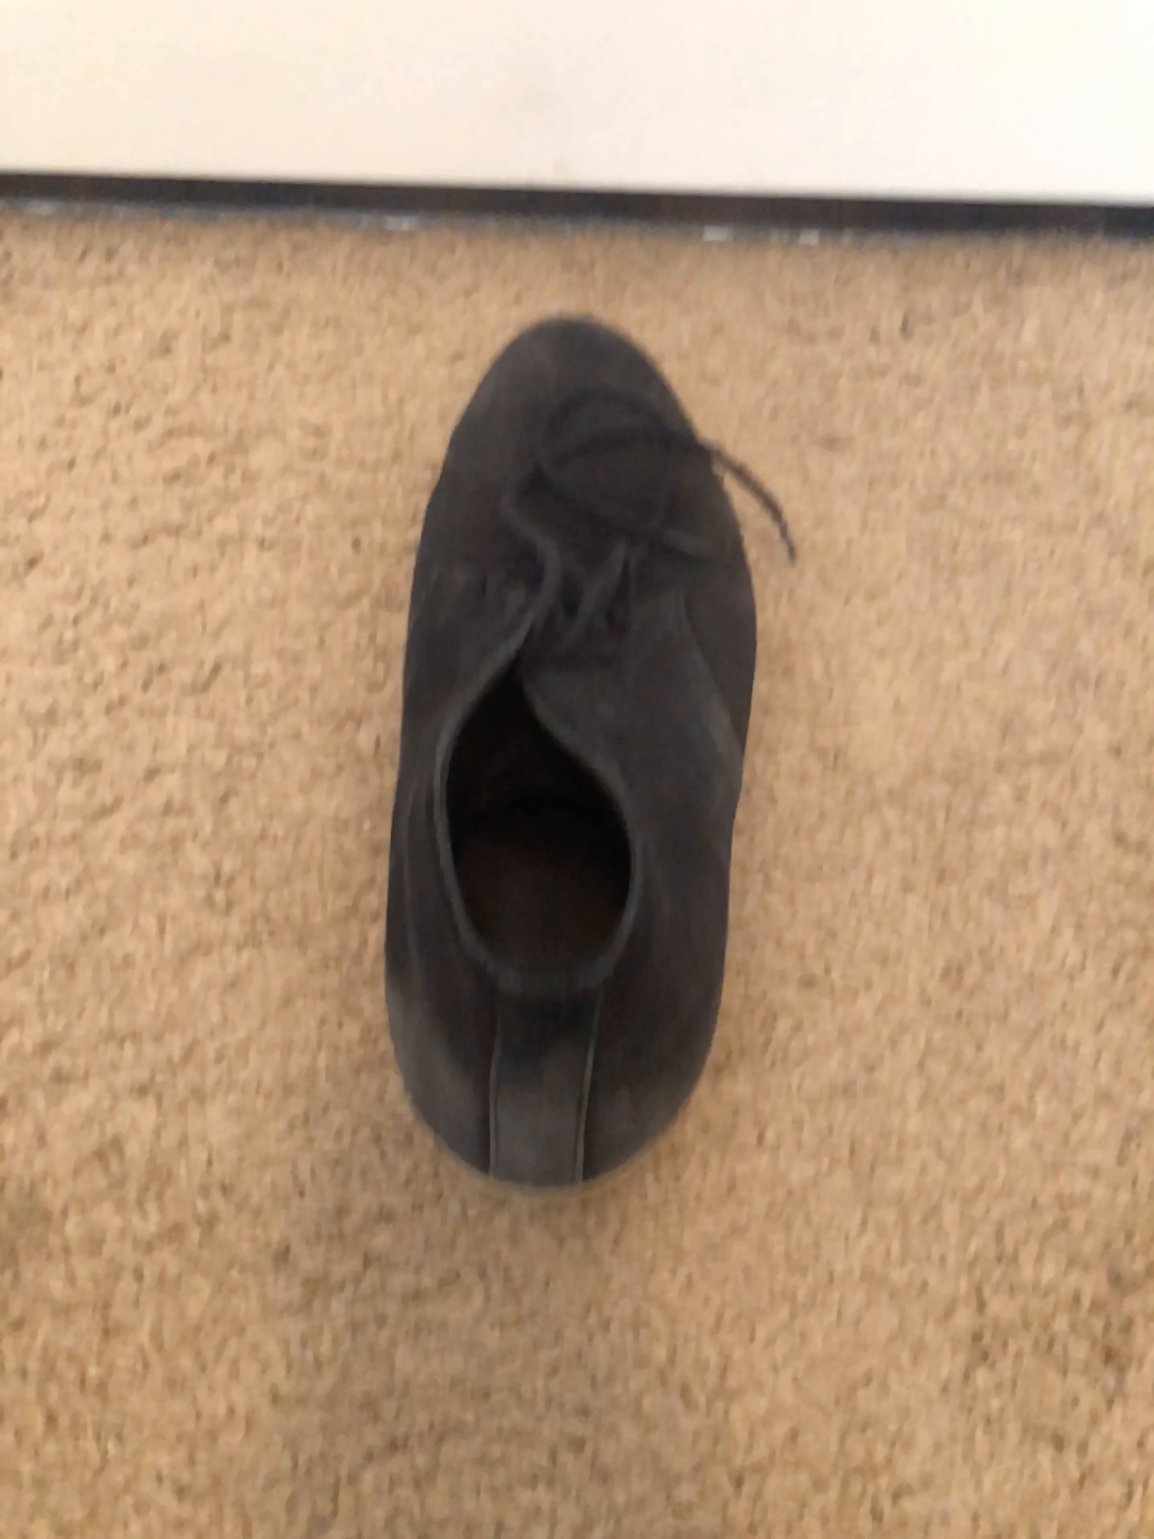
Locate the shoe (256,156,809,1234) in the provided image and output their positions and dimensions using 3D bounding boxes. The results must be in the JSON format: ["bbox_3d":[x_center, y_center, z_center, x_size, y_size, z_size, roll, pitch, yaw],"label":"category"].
[{"bbox_3d":[0.000,-0.032,0.346,0.102,0.095,0.280,4,60,1],"label":"shoe"}]
